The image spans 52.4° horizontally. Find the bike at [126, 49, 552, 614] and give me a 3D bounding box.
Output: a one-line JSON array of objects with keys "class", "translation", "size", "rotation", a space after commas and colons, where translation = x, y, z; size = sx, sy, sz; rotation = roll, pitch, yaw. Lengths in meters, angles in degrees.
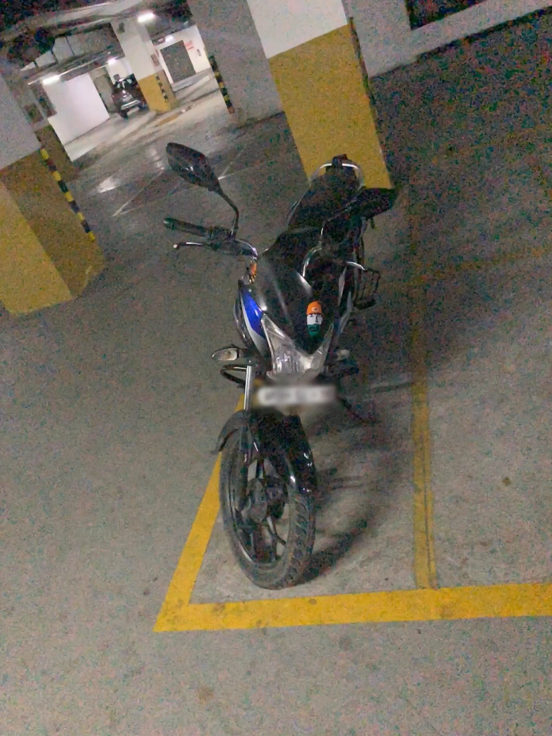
[{"class": "bike", "translation": [0.415, -0.379, 2.268], "size": [0.852, 1.205, 2.219], "rotation": [-13, 31, 18]}]
